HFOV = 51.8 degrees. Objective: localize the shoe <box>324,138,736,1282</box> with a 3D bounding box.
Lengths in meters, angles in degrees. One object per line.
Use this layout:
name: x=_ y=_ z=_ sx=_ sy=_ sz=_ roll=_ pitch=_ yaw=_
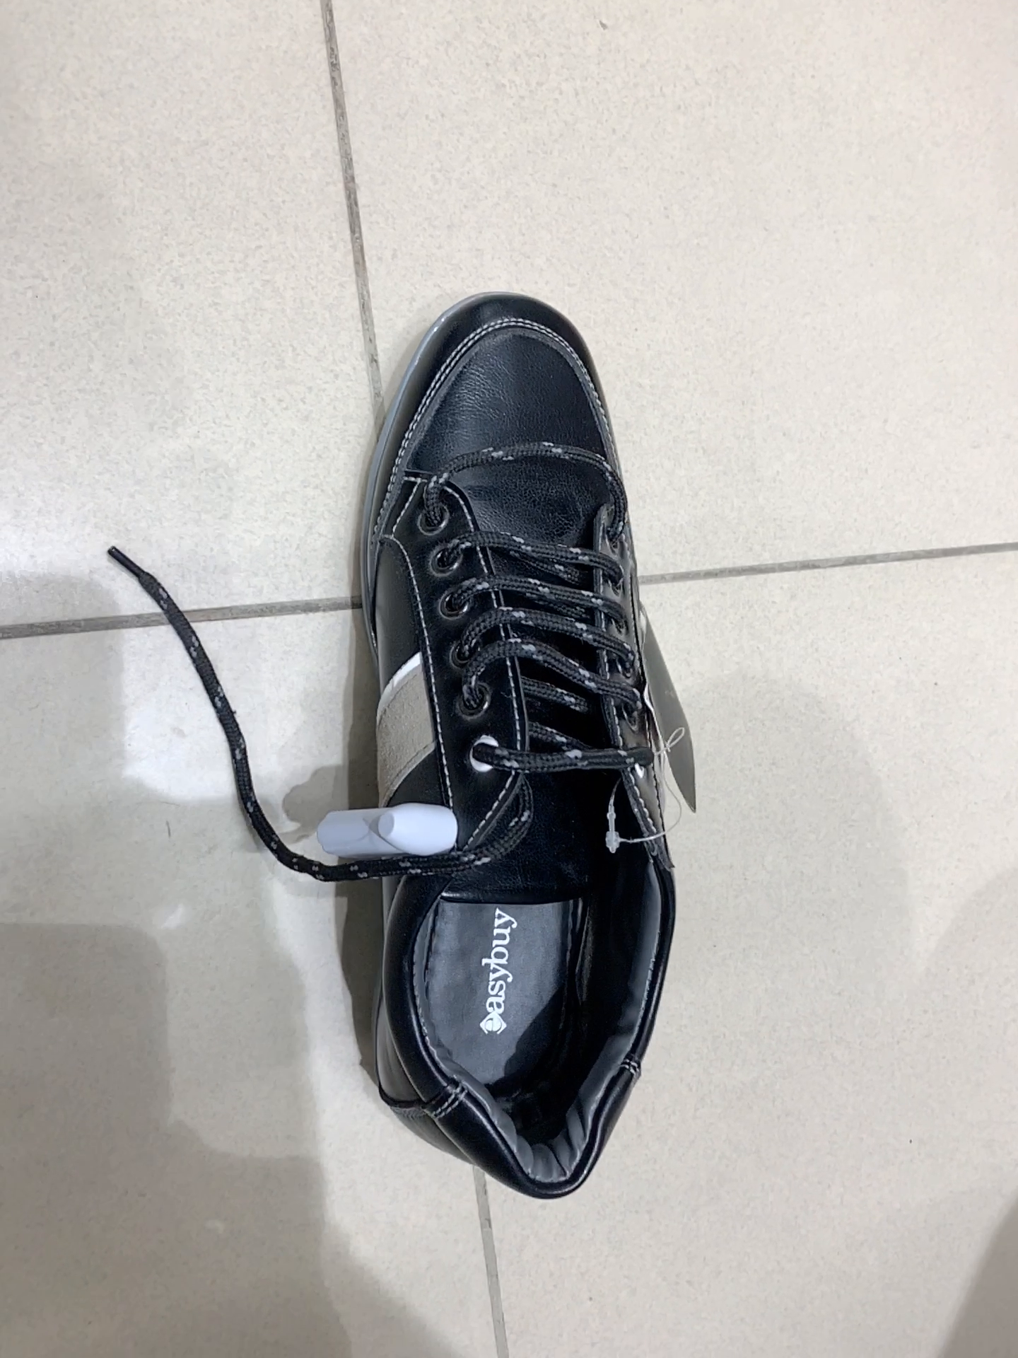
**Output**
shoe: x=0.004 y=0.007 z=0.335 sx=0.100 sy=0.090 sz=0.300 roll=3 pitch=85 yaw=-23
